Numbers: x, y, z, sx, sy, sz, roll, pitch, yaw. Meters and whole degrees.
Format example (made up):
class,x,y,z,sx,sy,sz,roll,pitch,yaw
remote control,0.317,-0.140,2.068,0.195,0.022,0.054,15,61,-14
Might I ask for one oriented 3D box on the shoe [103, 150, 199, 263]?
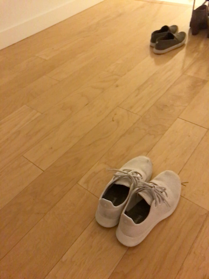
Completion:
class,x,y,z,sx,sy,sz,roll,pitch,yaw
shoe,0.135,0.166,0.628,0.120,0.070,0.281,28,55,29

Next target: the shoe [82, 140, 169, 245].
class,x,y,z,sx,sy,sz,roll,pitch,yaw
shoe,0.074,0.143,0.692,0.130,0.089,0.281,23,53,26

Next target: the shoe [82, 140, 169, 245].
class,x,y,z,sx,sy,sz,roll,pitch,yaw
shoe,0.074,0.143,0.692,0.130,0.089,0.281,23,53,26
